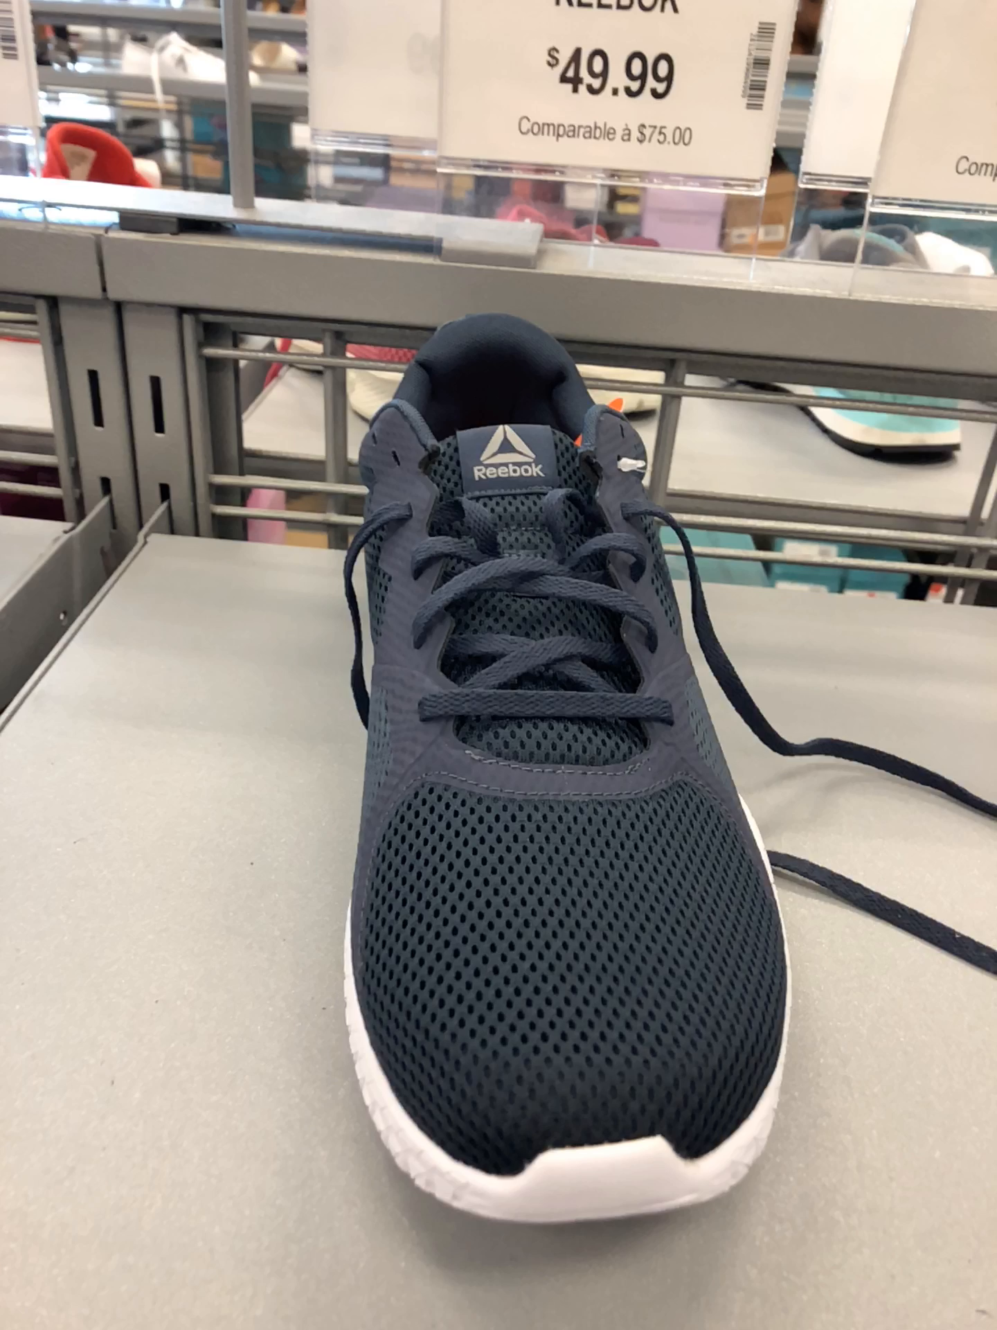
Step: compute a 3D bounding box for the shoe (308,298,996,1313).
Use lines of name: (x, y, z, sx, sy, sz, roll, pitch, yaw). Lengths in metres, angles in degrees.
shoe: (0.017, -0.009, 0.321, 0.120, 0.109, 0.323, 1, 31, -6)
